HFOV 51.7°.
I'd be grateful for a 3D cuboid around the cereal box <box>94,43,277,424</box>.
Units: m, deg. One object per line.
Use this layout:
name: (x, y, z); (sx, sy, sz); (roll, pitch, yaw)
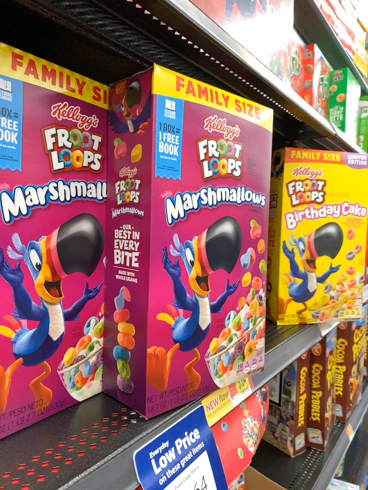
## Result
cereal box: (0.010, -0.011, 0.436); (0.200, 0.340, 0.080); (-1, 3, -43)
